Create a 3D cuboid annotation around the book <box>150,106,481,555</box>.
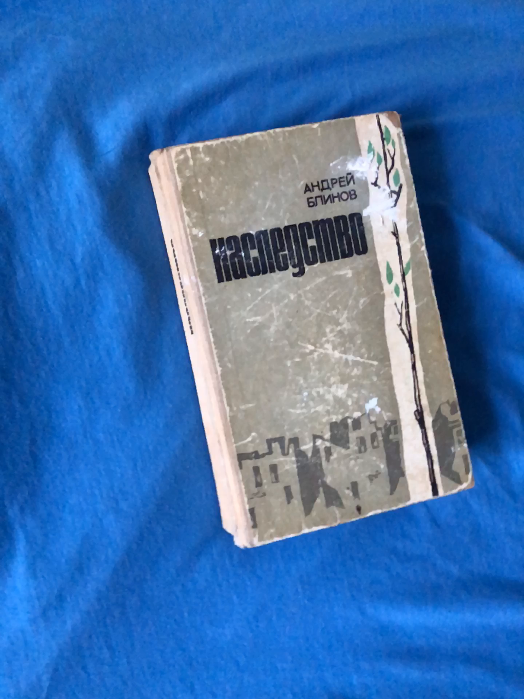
[{"bbox_3d":[0.027,-0.013,0.307,0.130,0.040,0.200,-12,91,-11],"label":"book"}]
